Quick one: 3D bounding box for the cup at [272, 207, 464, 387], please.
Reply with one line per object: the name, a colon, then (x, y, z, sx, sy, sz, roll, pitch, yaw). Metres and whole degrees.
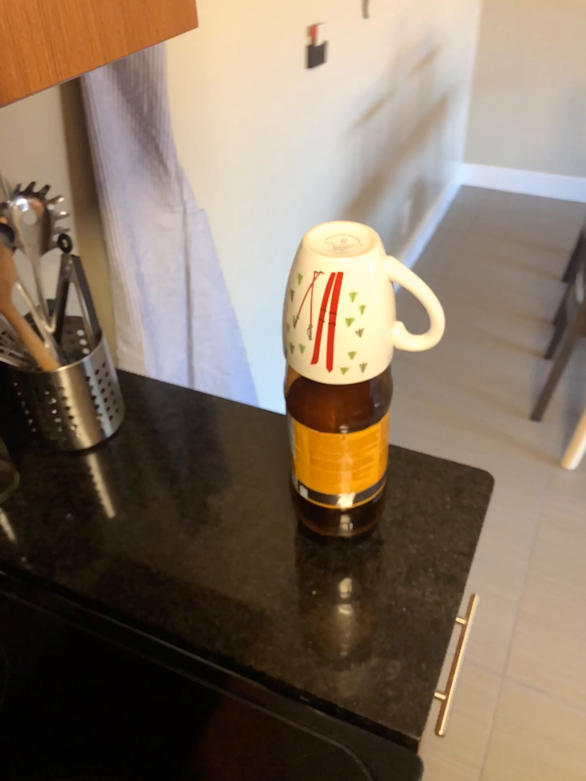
cup: (0.058, -0.079, 0.552, 0.140, 0.109, 0.100, -2, 38, 3)
